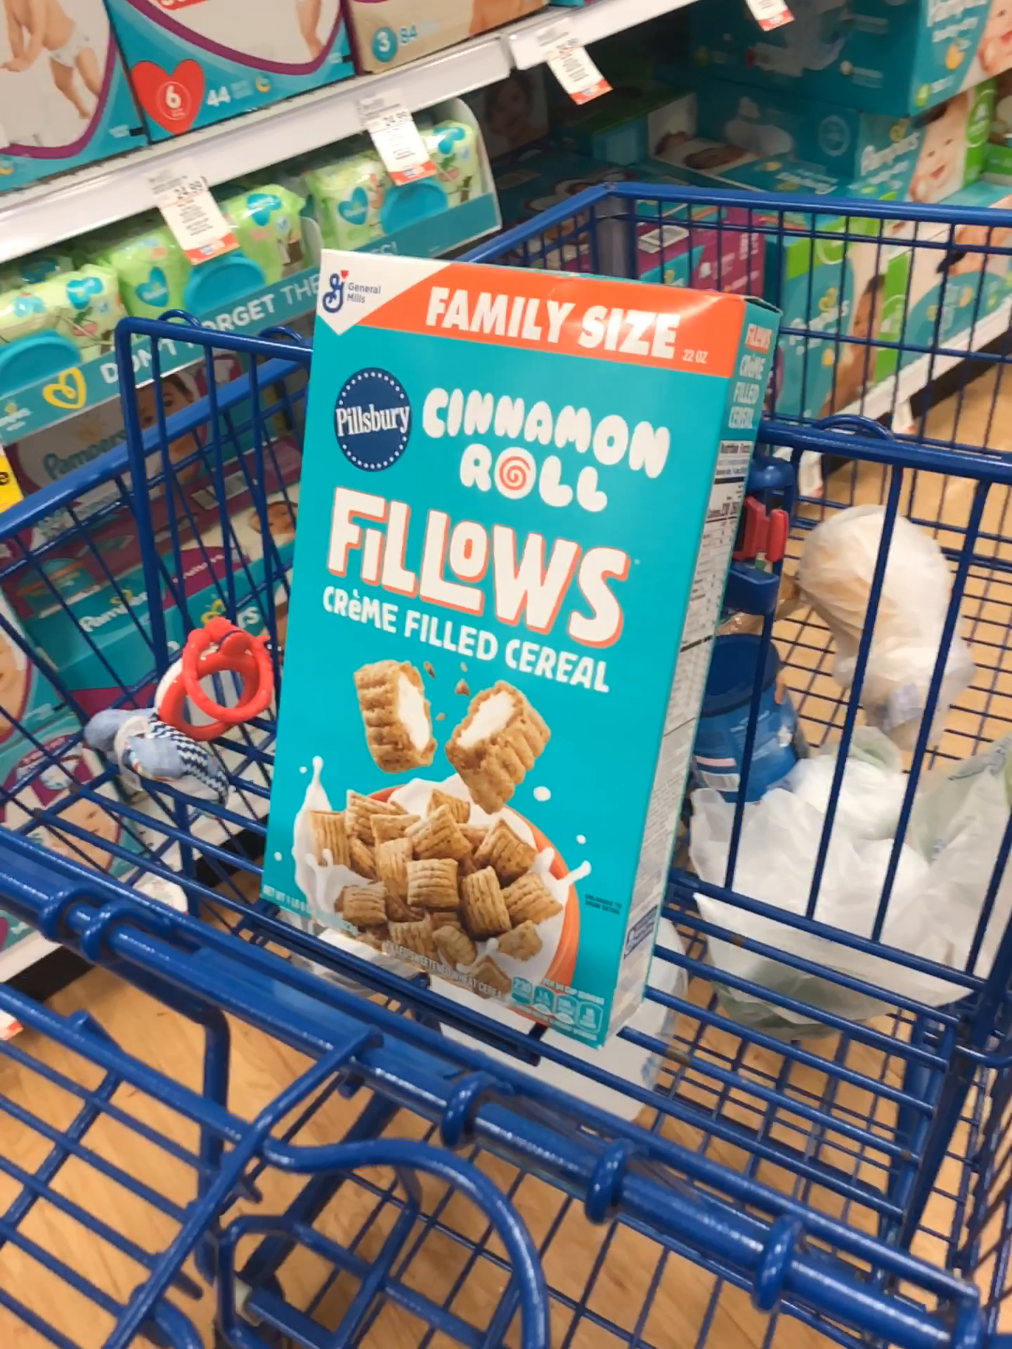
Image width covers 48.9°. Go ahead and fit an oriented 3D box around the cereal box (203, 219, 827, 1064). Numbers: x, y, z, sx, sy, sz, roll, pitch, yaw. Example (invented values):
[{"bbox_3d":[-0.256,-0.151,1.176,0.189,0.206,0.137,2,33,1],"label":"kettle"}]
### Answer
[{"bbox_3d":[-0.011,-0.021,0.461,0.210,0.290,0.060,16,15,25],"label":"cereal box"}]
